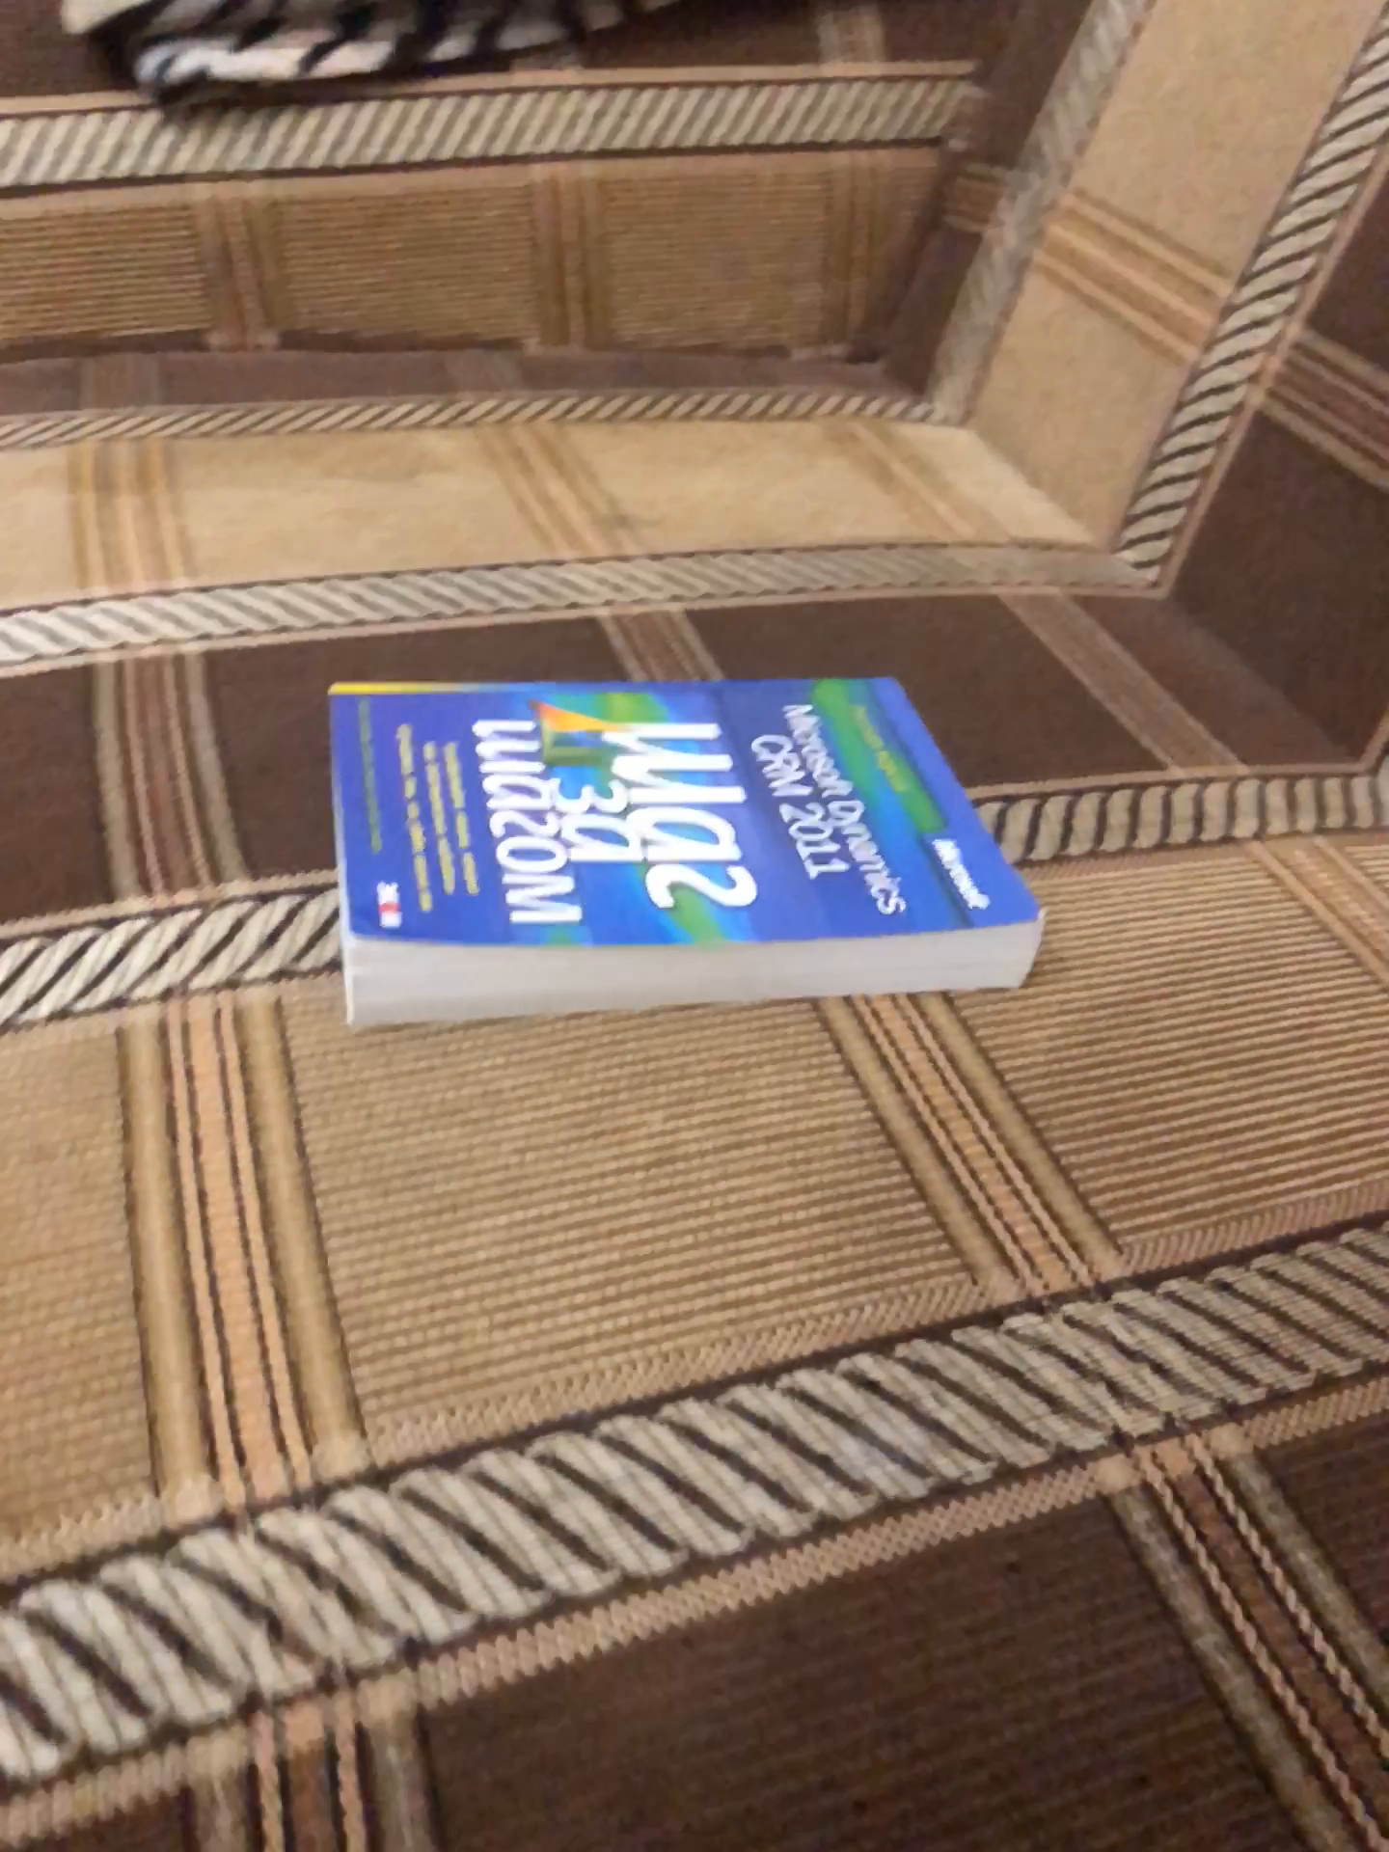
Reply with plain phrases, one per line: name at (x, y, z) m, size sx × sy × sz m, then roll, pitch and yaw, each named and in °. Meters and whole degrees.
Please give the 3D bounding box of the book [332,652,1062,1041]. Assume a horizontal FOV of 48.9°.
book at (-0.009, -0.034, 0.483) m, size 0.200 × 0.030 × 0.151 m, roll -4°, pitch 40°, yaw -13°
